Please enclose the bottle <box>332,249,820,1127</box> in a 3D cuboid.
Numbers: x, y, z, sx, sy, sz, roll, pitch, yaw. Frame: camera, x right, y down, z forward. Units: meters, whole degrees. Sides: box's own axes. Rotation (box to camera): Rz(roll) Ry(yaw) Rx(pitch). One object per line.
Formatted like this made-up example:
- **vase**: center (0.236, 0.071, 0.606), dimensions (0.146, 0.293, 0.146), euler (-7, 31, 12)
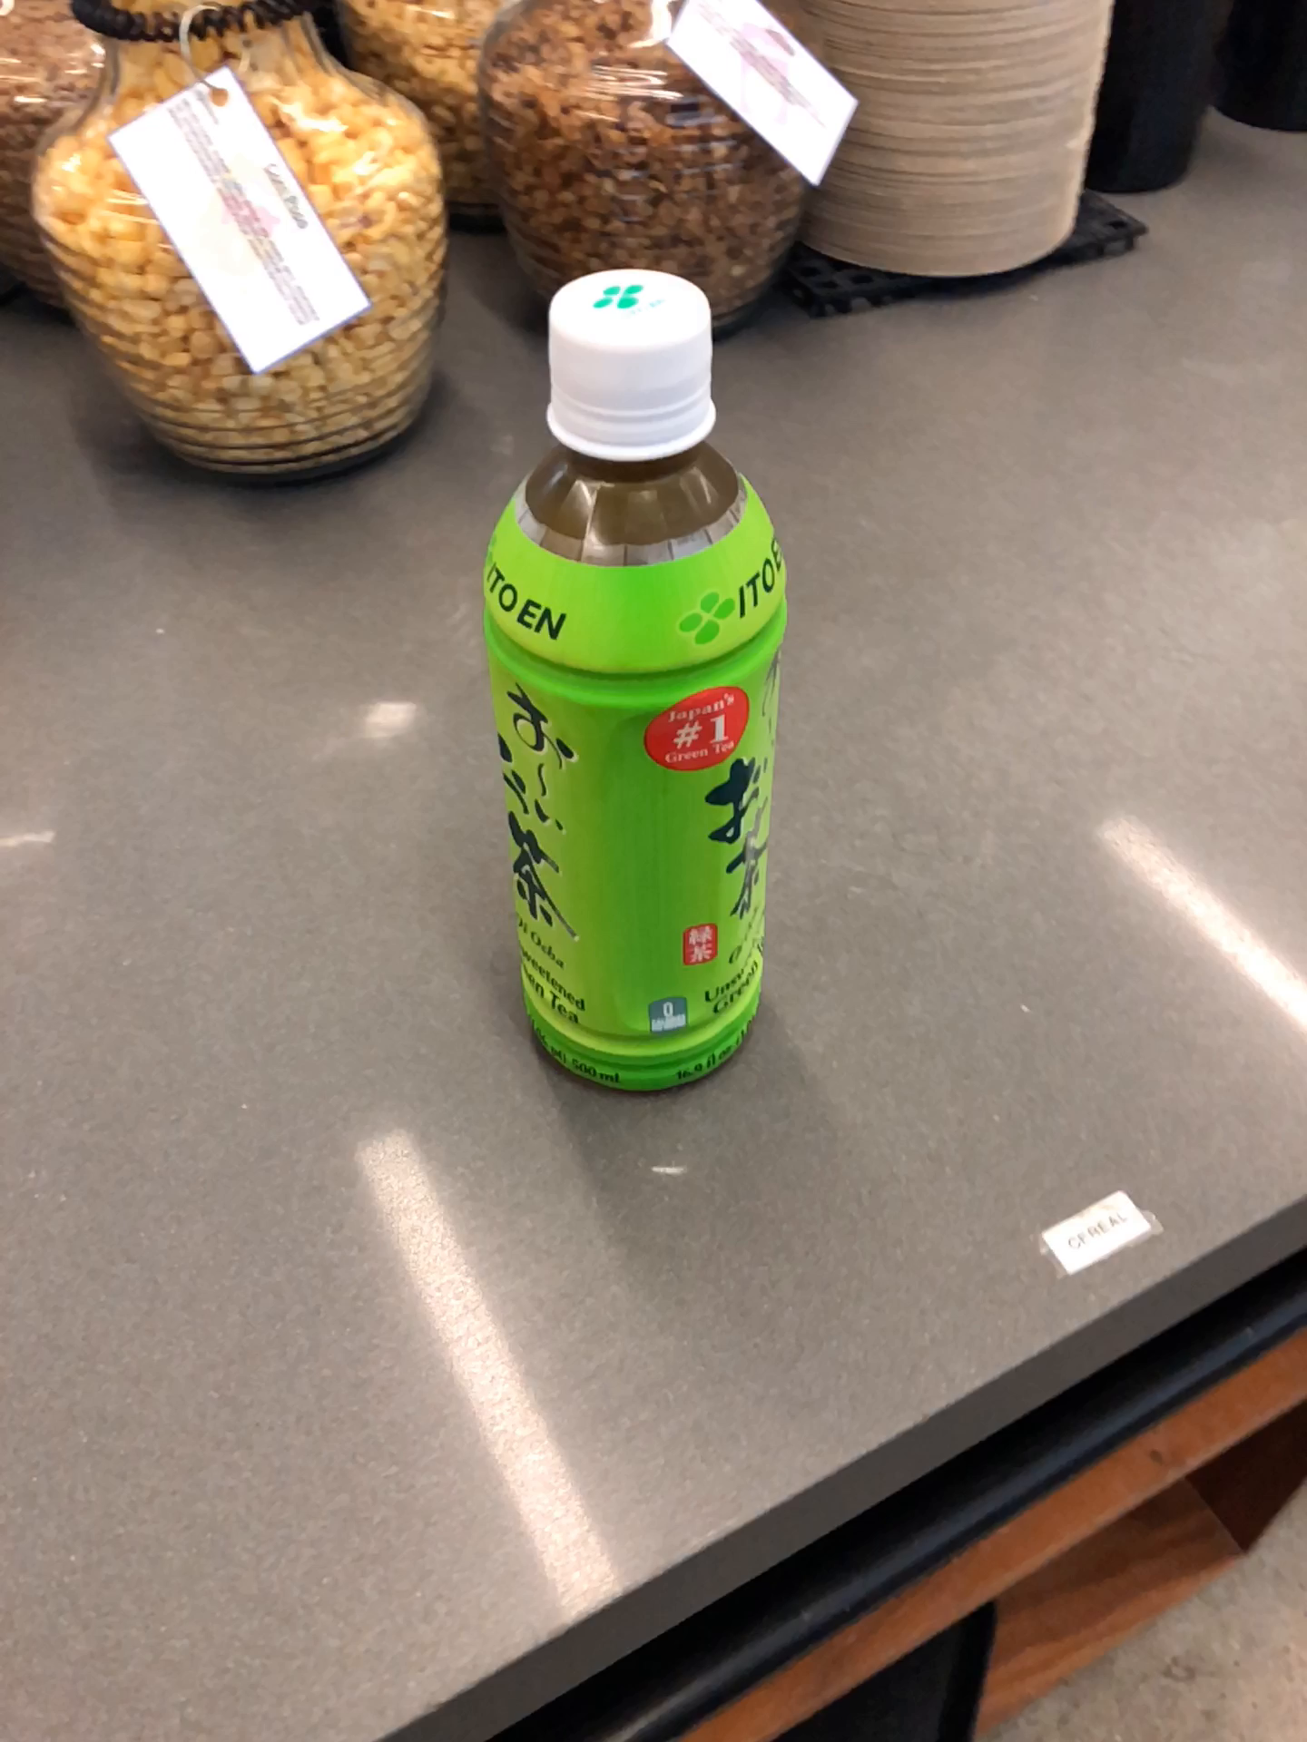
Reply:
- **bottle**: center (-0.009, -0.031, 0.335), dimensions (0.080, 0.189, 0.080), euler (0, 46, 0)
